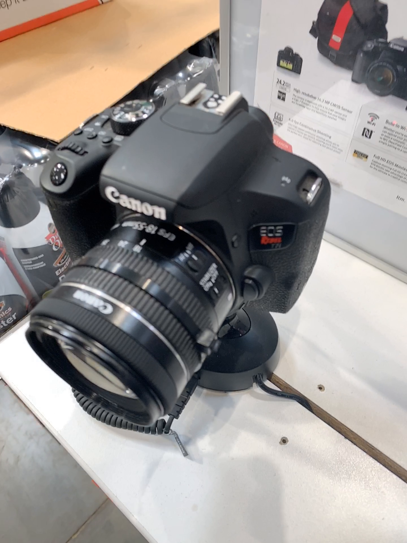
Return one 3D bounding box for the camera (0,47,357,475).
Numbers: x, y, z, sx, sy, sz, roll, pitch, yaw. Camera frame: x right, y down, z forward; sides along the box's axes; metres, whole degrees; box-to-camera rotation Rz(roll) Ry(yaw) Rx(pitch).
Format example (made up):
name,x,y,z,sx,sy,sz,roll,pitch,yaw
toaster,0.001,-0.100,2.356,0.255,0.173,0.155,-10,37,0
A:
name,x,y,z,sx,sy,sz,roll,pitch,yaw
camera,-0.027,-0.015,0.182,0.134,0.089,0.121,21,54,19
